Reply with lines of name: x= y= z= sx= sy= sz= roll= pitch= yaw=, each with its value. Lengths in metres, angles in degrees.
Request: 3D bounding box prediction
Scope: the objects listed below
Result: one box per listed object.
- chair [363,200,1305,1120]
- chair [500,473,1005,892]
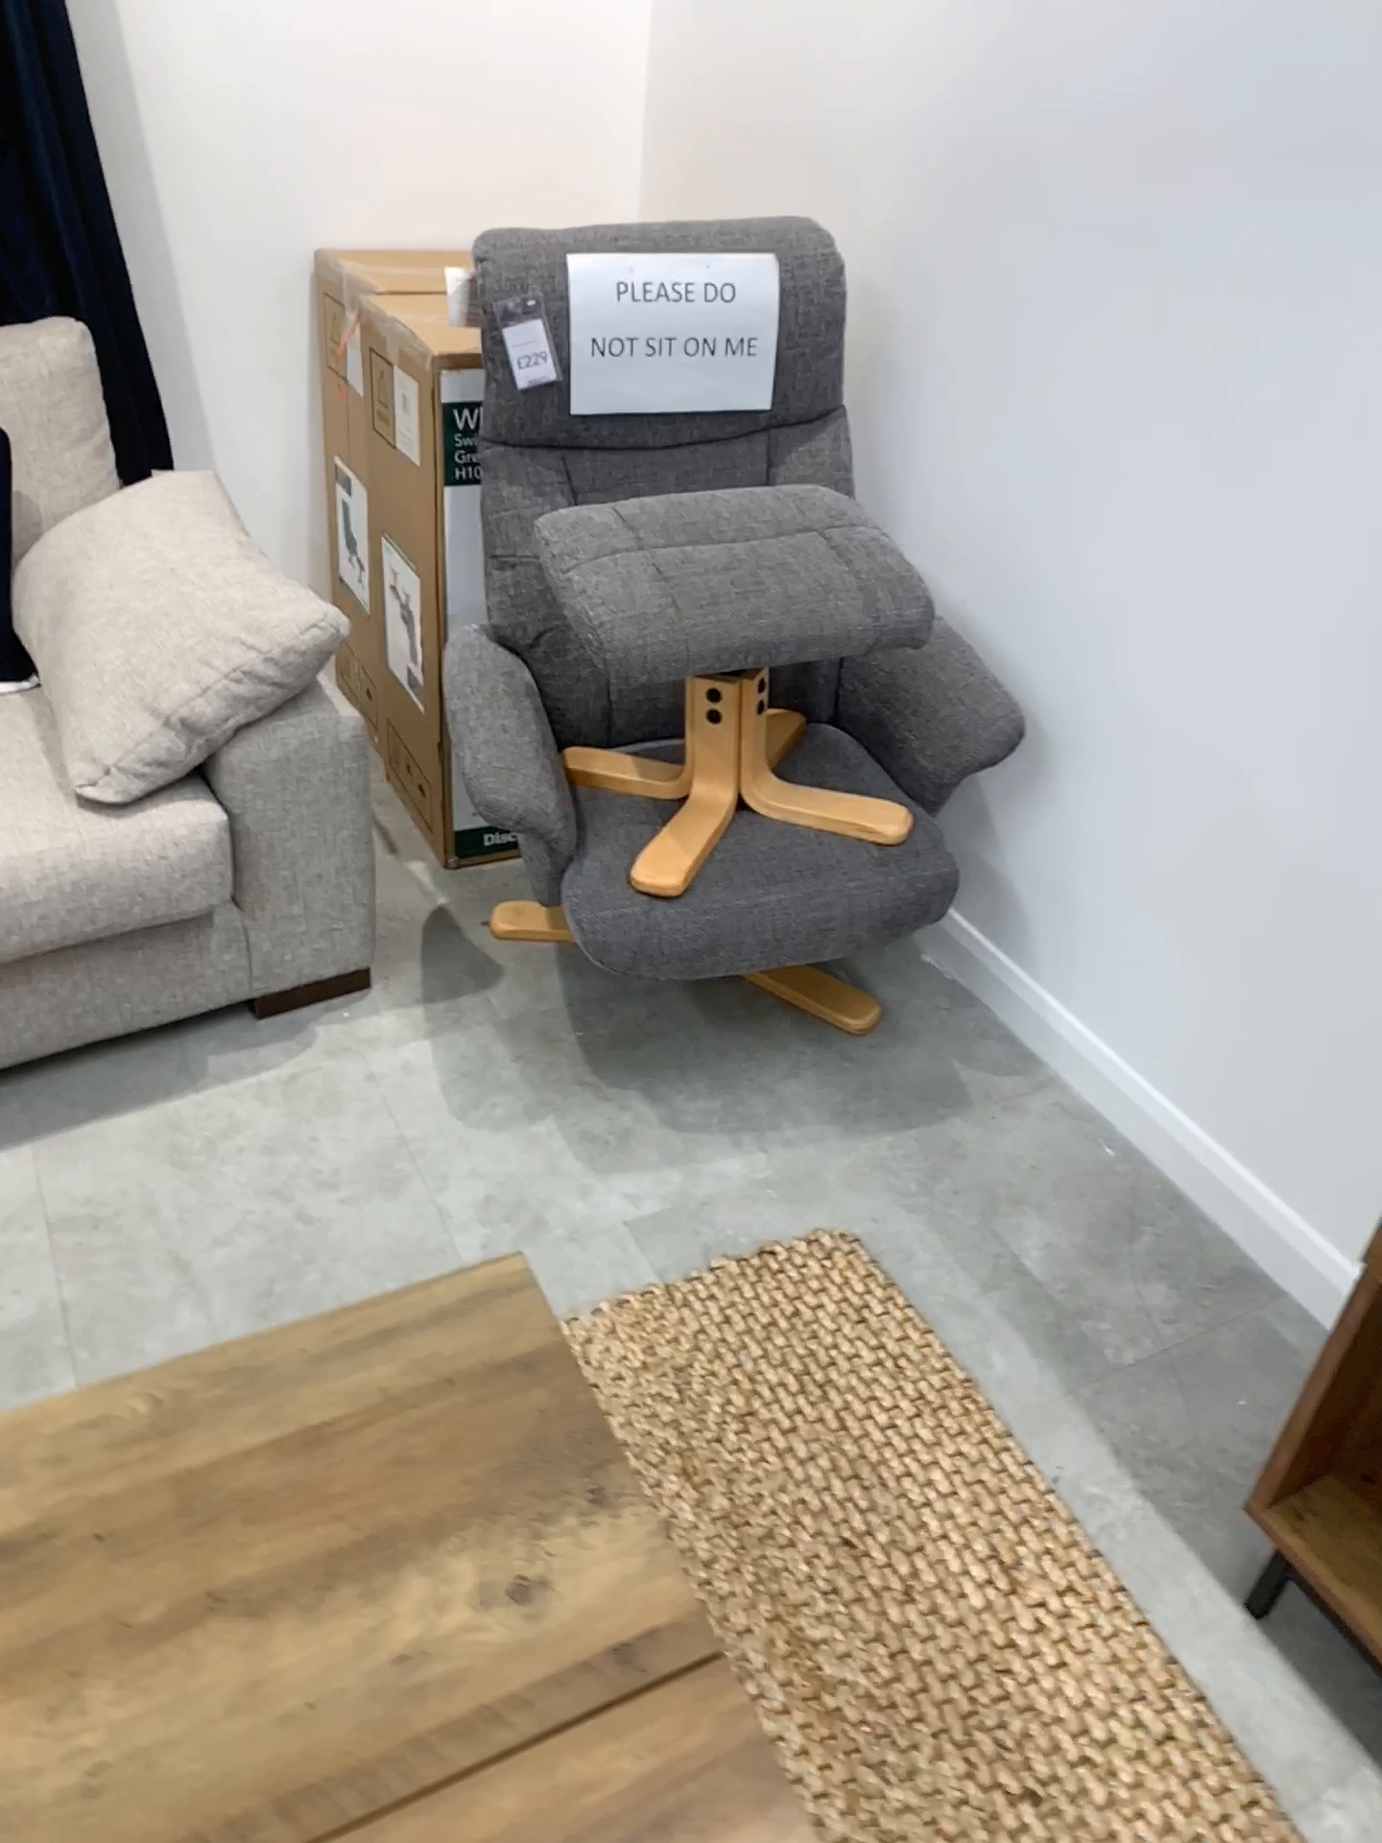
chair: x=0.084 y=-0.408 z=1.923 sx=0.867 sy=0.896 sz=0.792 roll=-9 pitch=36 yaw=-20
chair: x=0.049 y=-0.339 z=1.863 sx=0.497 sy=0.352 sz=0.449 roll=-9 pitch=36 yaw=-20
